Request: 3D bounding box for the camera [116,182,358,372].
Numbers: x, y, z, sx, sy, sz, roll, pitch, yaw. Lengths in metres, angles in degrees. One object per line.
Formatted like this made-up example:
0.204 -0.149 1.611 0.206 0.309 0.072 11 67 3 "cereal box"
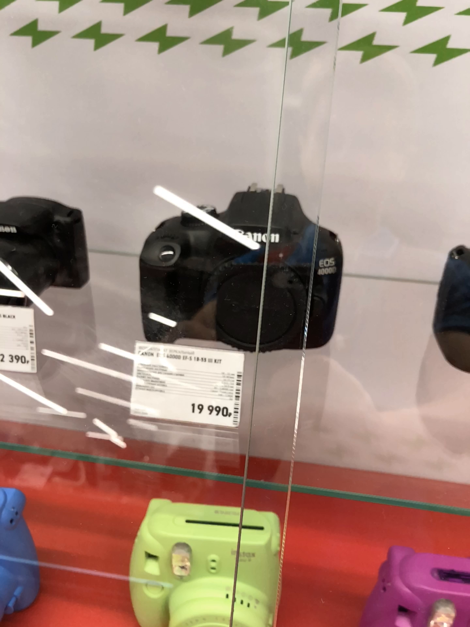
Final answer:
0.004 -0.030 0.355 0.135 0.083 0.100 5 29 5 "camera"
